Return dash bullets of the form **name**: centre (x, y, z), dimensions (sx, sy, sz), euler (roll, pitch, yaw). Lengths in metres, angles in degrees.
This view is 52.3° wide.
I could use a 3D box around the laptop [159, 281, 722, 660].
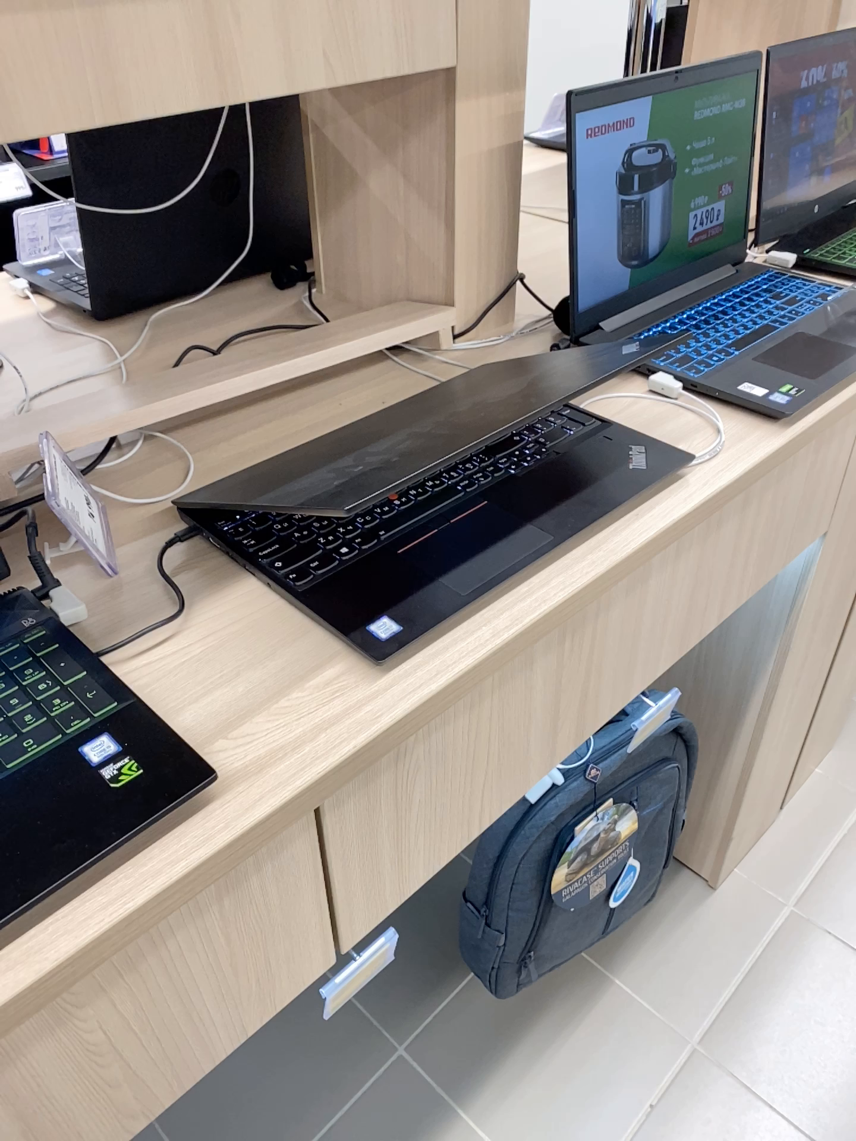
- **laptop**: centre (0.019, -0.111, 0.699), dimensions (0.369, 0.093, 0.241), euler (-30, 46, -33)
